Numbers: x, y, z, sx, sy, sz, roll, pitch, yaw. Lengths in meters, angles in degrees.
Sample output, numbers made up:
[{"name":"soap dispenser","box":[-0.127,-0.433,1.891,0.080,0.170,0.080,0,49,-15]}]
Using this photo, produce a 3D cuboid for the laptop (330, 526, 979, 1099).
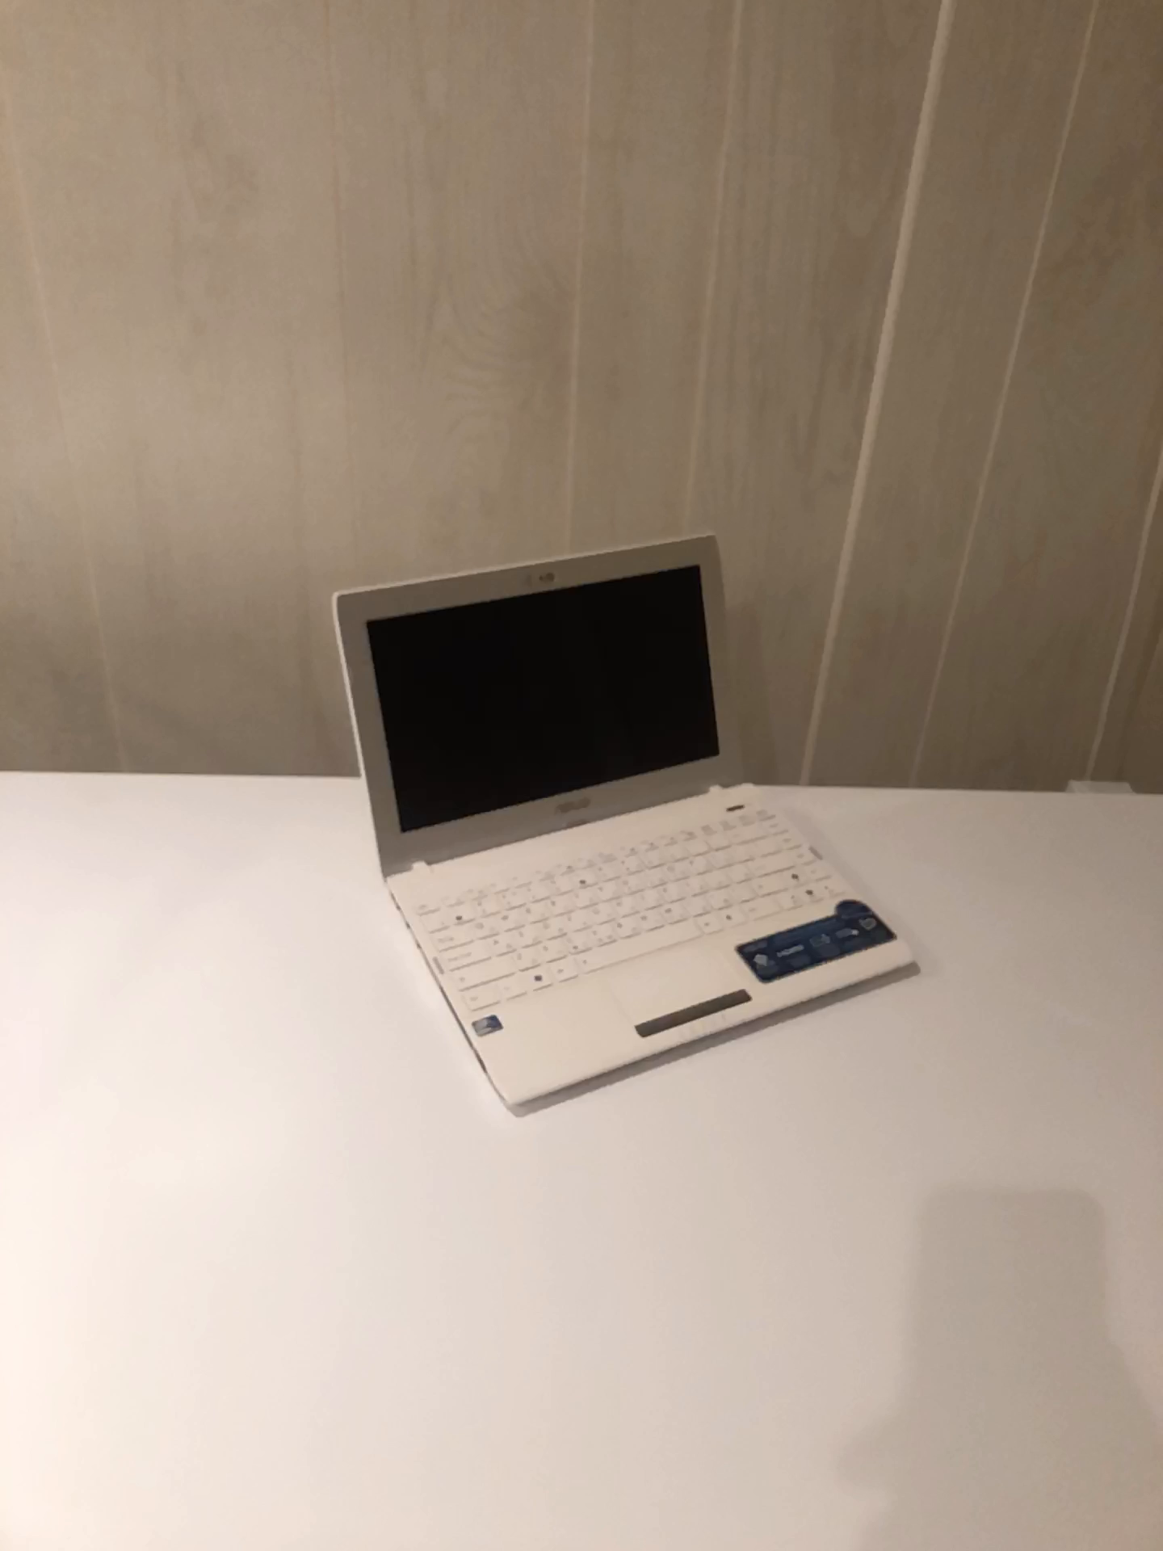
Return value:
[{"name":"laptop","box":[0.029,-0.001,0.831,0.288,0.168,0.293,-14,40,-24]}]
